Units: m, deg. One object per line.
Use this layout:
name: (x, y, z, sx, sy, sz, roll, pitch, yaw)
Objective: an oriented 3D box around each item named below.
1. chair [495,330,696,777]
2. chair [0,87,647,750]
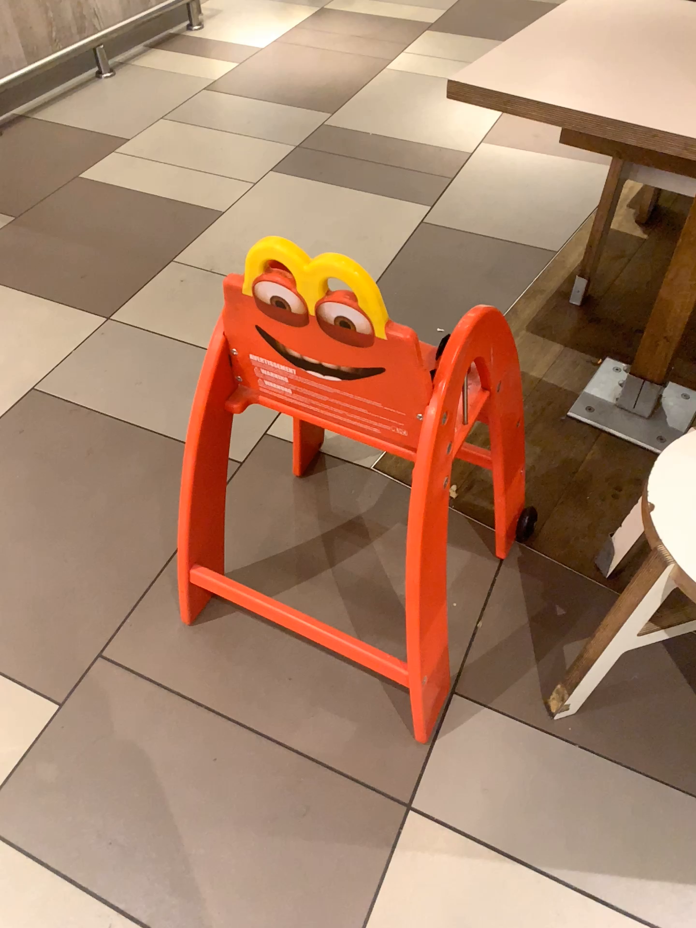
chair: (0.456, 0.133, 1.023, 0.321, 0.446, 0.373, 19, 52, 17)
chair: (0.006, -0.076, 1.078, 0.581, 0.654, 0.584, 19, 52, 17)
